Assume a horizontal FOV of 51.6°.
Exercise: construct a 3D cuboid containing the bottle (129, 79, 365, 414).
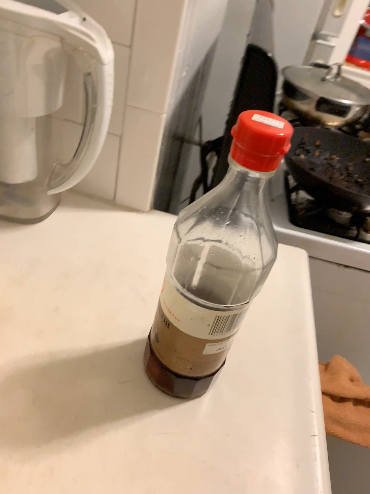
[{"bbox_3d":[0.021,0.023,0.304,0.090,0.258,0.091,9,40,-8],"label":"bottle"}]
